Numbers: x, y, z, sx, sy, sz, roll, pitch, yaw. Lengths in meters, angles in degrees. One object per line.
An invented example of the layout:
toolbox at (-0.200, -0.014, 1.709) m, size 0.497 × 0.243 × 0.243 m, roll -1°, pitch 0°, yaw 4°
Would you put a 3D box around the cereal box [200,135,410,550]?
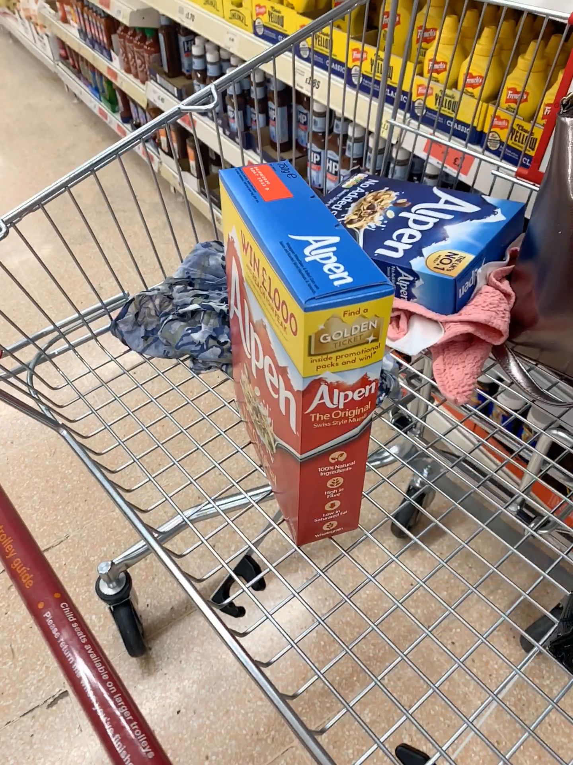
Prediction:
cereal box at (0.004, -0.022, 0.442) m, size 0.060 × 0.248 × 0.181 m, roll -16°, pitch 48°, yaw -14°
